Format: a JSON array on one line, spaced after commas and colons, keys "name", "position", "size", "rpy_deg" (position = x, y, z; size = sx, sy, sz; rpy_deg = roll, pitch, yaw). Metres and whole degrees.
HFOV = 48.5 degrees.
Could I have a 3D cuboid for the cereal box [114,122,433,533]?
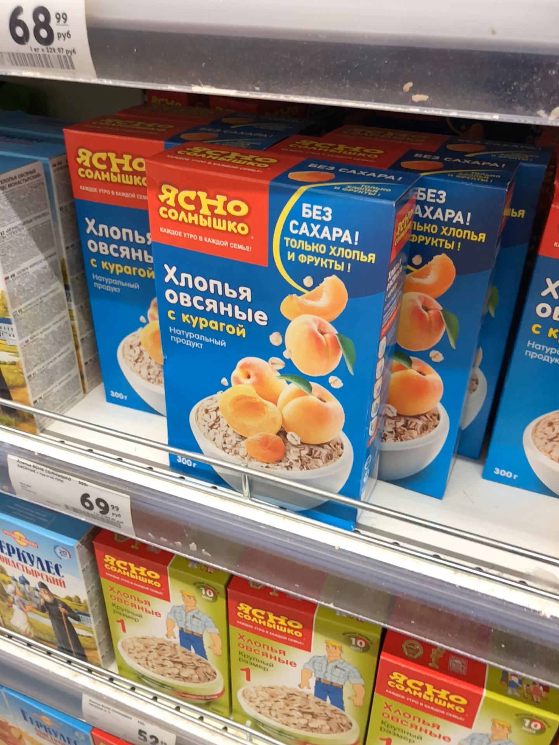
[{"name": "cereal box", "position": [-0.007, -0.023, 0.360], "size": [0.150, 0.209, 0.050], "rpy_deg": [15, 35, 20]}]
